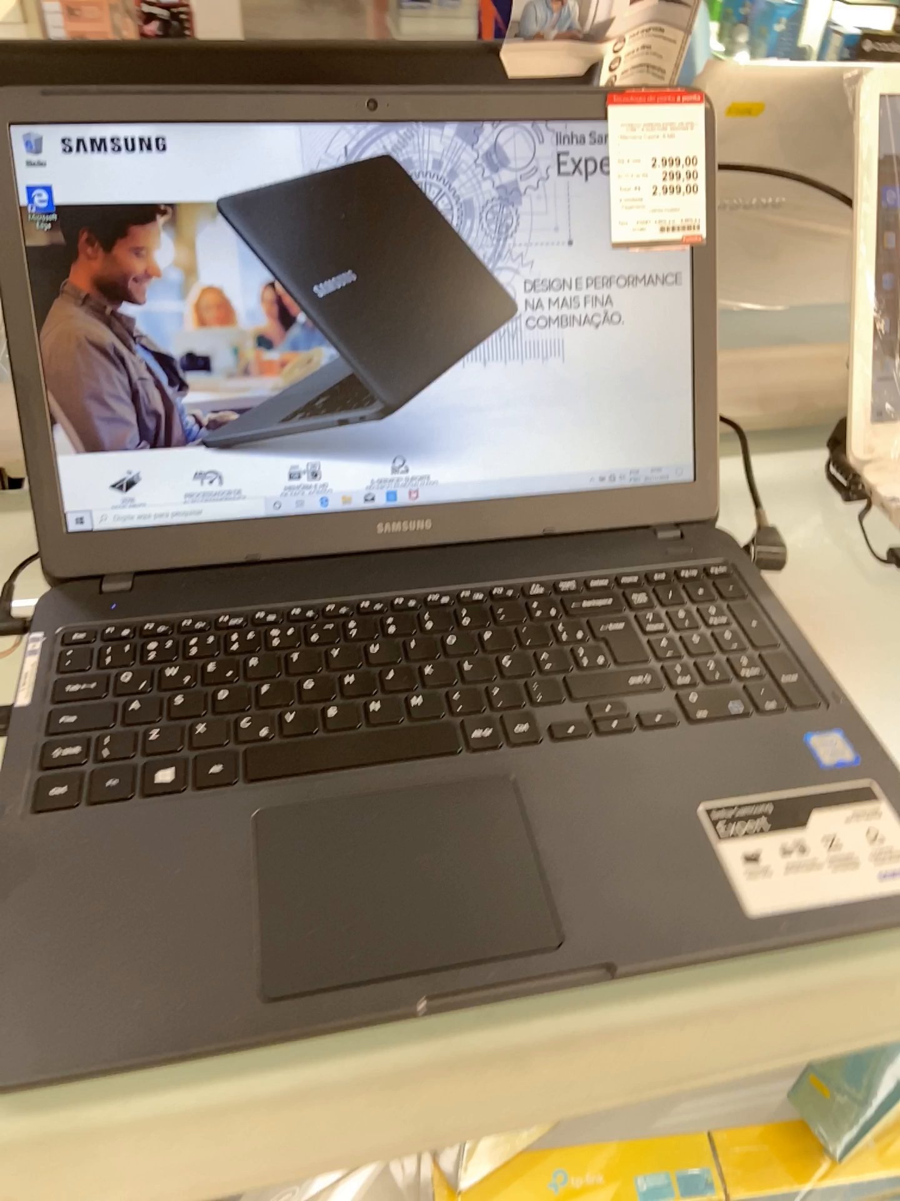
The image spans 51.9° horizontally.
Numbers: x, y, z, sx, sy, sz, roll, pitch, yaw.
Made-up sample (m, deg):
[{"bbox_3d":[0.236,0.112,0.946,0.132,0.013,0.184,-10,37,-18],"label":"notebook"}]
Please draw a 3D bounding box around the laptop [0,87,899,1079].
[{"bbox_3d":[-0.009,-0.063,0.402,0.371,0.200,0.370,-6,42,-10],"label":"laptop"}]
